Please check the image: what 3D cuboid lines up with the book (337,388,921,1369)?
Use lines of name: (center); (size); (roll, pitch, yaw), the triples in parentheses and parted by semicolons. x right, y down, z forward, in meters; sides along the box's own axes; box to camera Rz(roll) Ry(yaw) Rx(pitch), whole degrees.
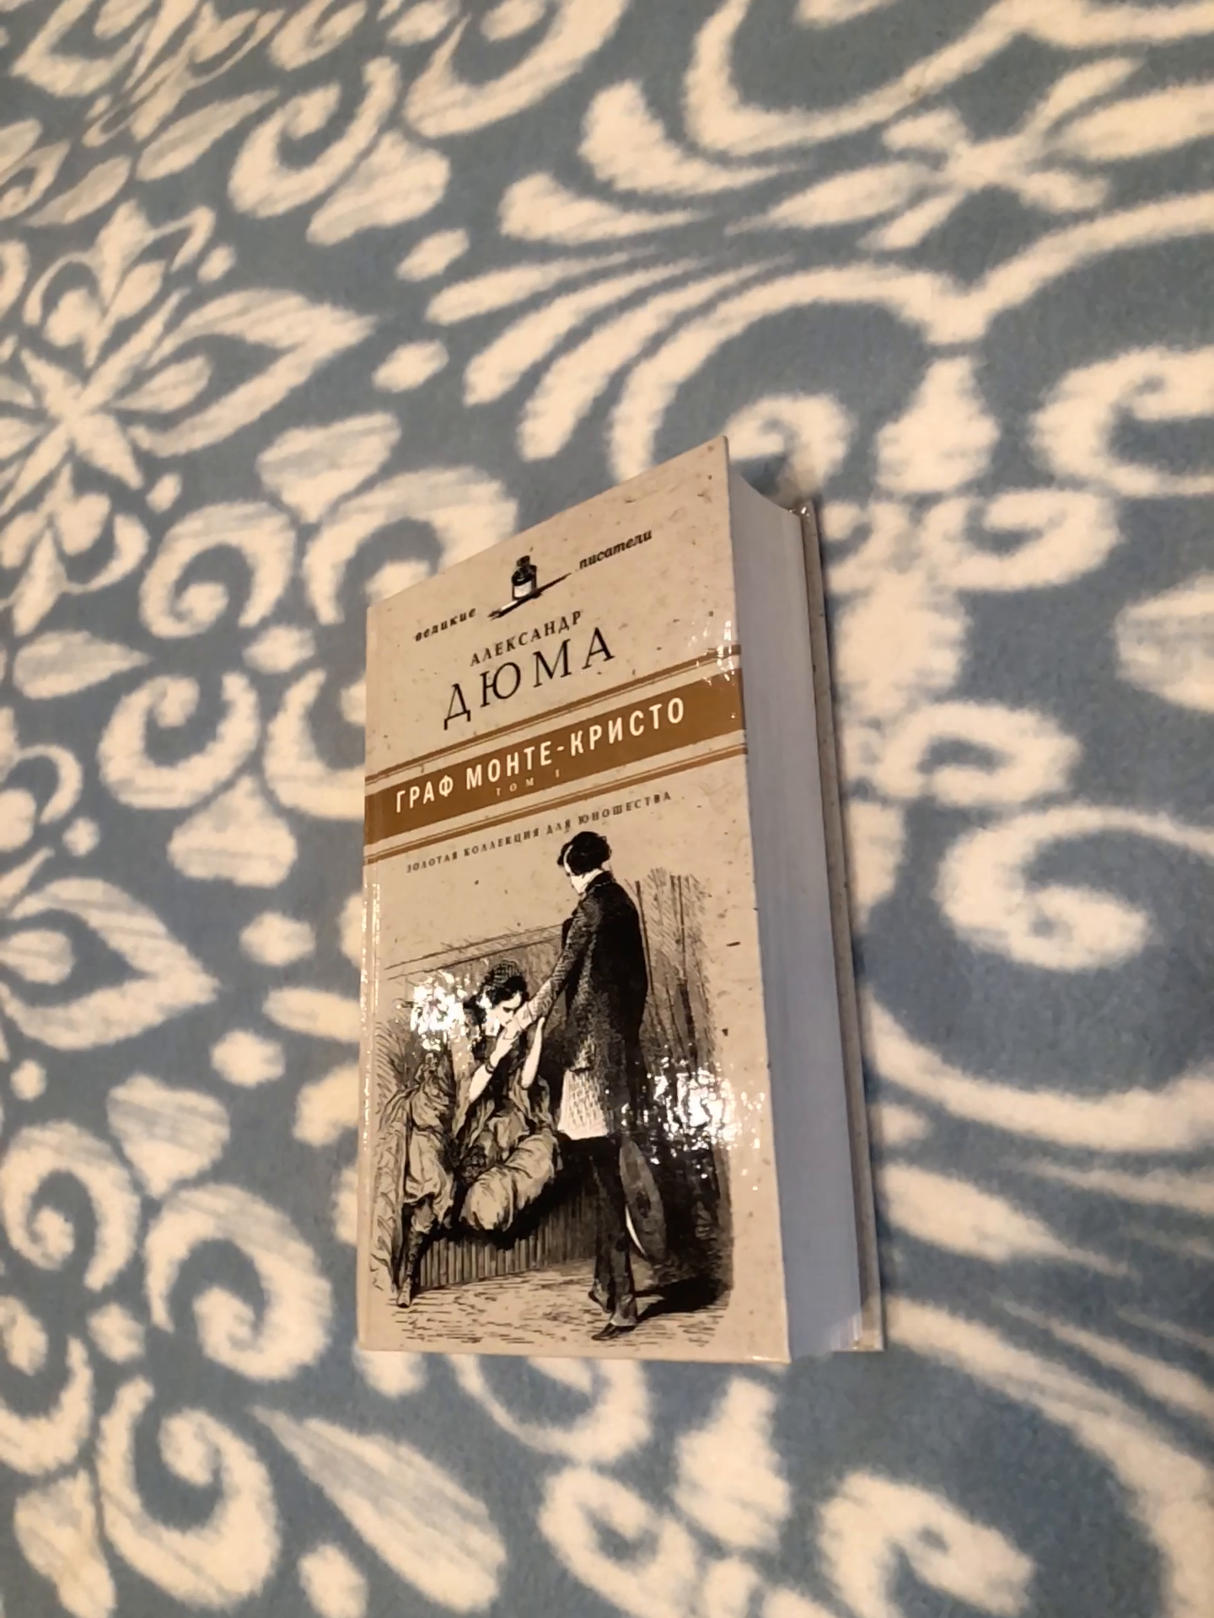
book: (-0.005, 0.022, 0.337); (0.138, 0.040, 0.212); (-17, 67, 37)
